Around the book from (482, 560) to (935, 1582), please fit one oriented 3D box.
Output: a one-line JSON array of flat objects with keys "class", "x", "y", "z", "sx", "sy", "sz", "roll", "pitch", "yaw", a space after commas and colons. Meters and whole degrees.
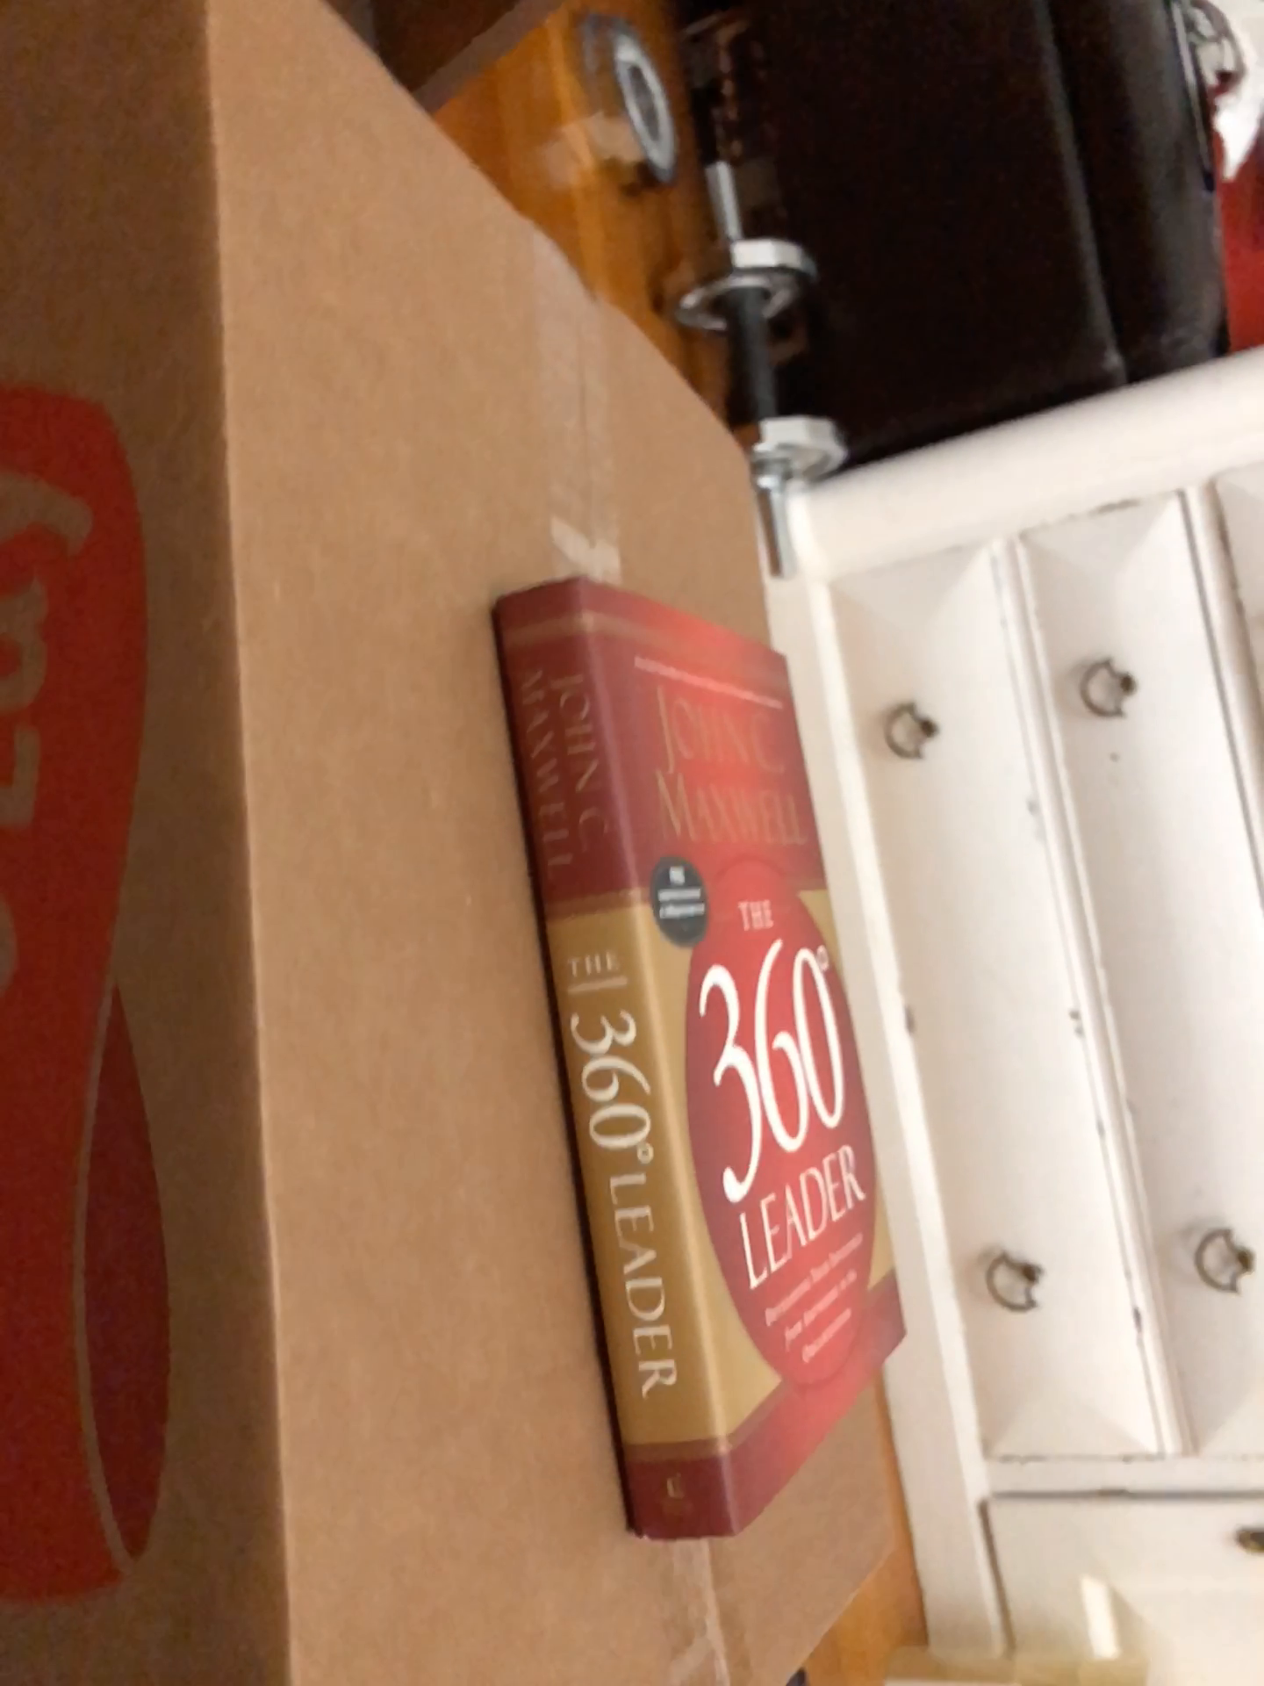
[{"class": "book", "x": 0.033, "y": 0.054, "z": 0.418, "sx": 0.181, "sy": 0.030, "sz": 0.240, "roll": 4, "pitch": 76, "yaw": -65}]
